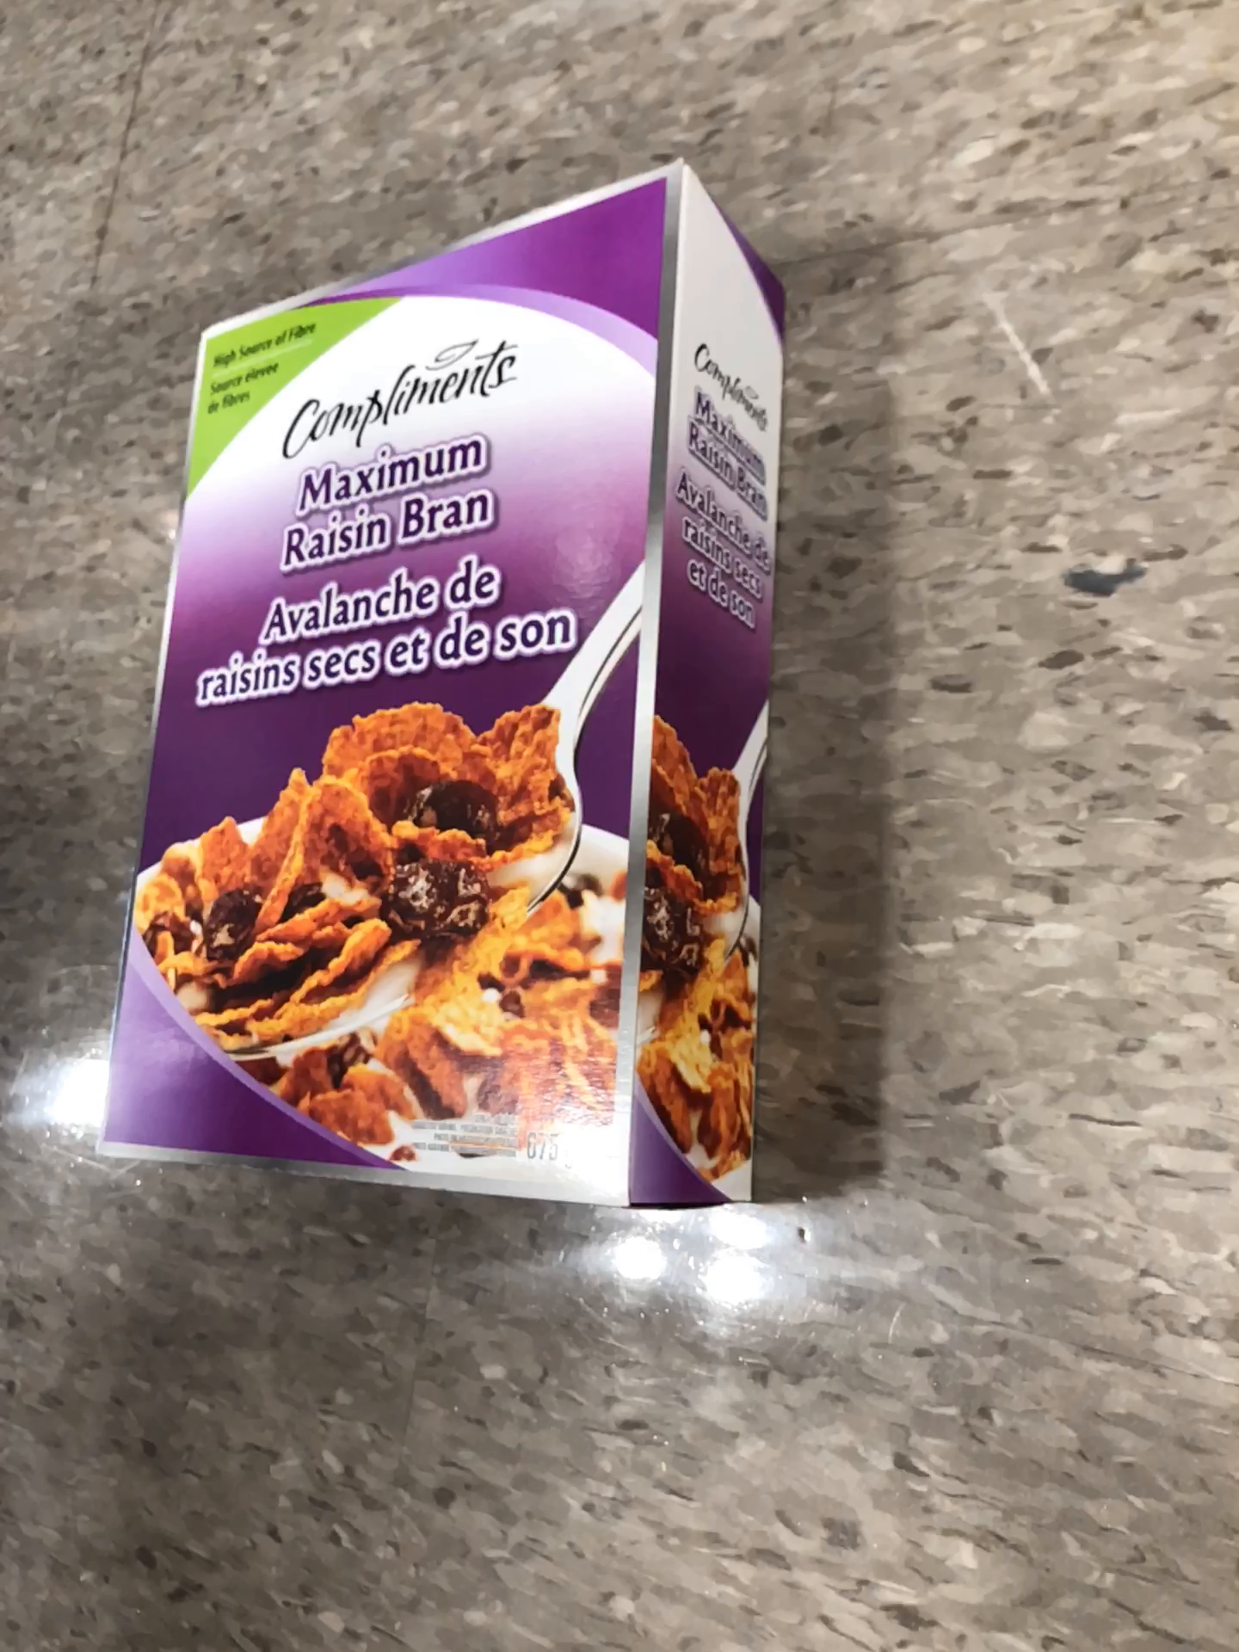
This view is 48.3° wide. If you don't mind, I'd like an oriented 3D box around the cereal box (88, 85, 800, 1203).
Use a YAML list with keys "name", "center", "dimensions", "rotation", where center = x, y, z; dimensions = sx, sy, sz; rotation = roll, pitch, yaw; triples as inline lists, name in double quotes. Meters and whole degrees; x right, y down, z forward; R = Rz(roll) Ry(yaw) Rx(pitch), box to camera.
- name: "cereal box"
  center: [-0.053, -0.047, 0.442]
  dimensions: [0.201, 0.070, 0.310]
  rotation: [-5, 74, 32]
